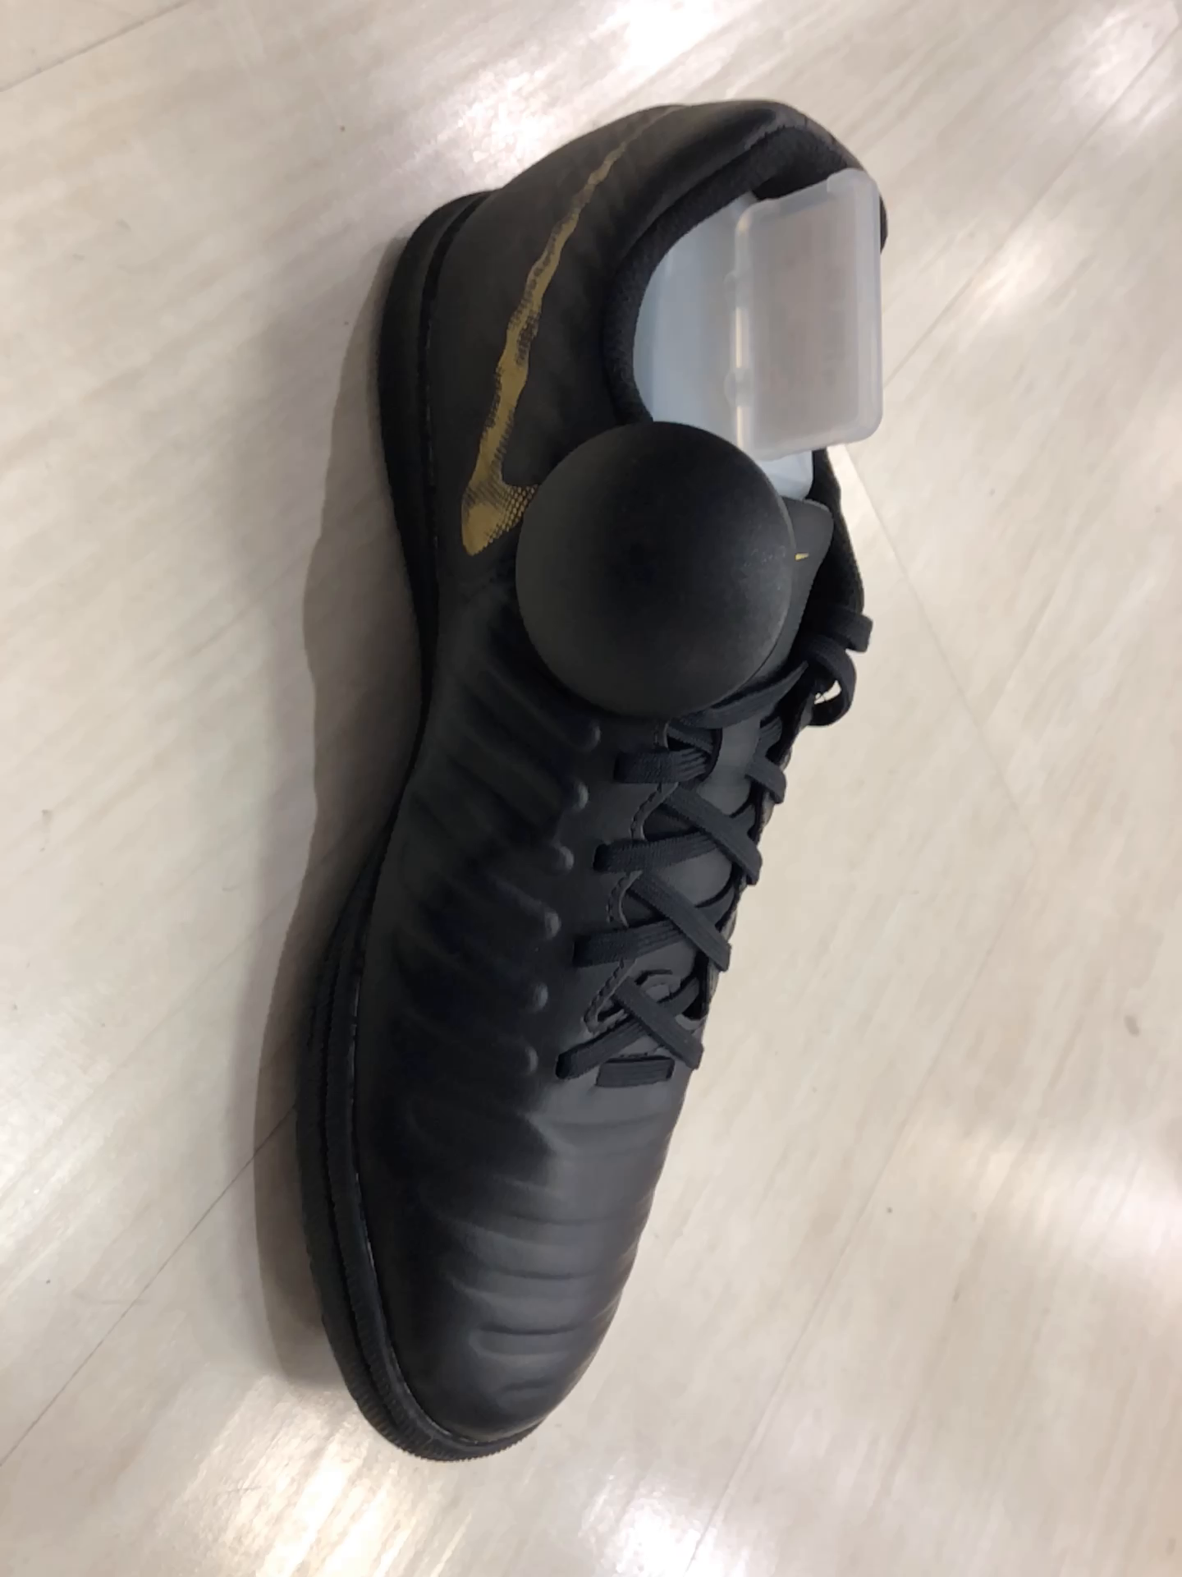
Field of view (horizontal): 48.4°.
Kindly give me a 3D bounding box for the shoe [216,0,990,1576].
[{"bbox_3d":[0.006,-0.003,0.277,0.101,0.109,0.290,9,81,-44],"label":"shoe"}]
